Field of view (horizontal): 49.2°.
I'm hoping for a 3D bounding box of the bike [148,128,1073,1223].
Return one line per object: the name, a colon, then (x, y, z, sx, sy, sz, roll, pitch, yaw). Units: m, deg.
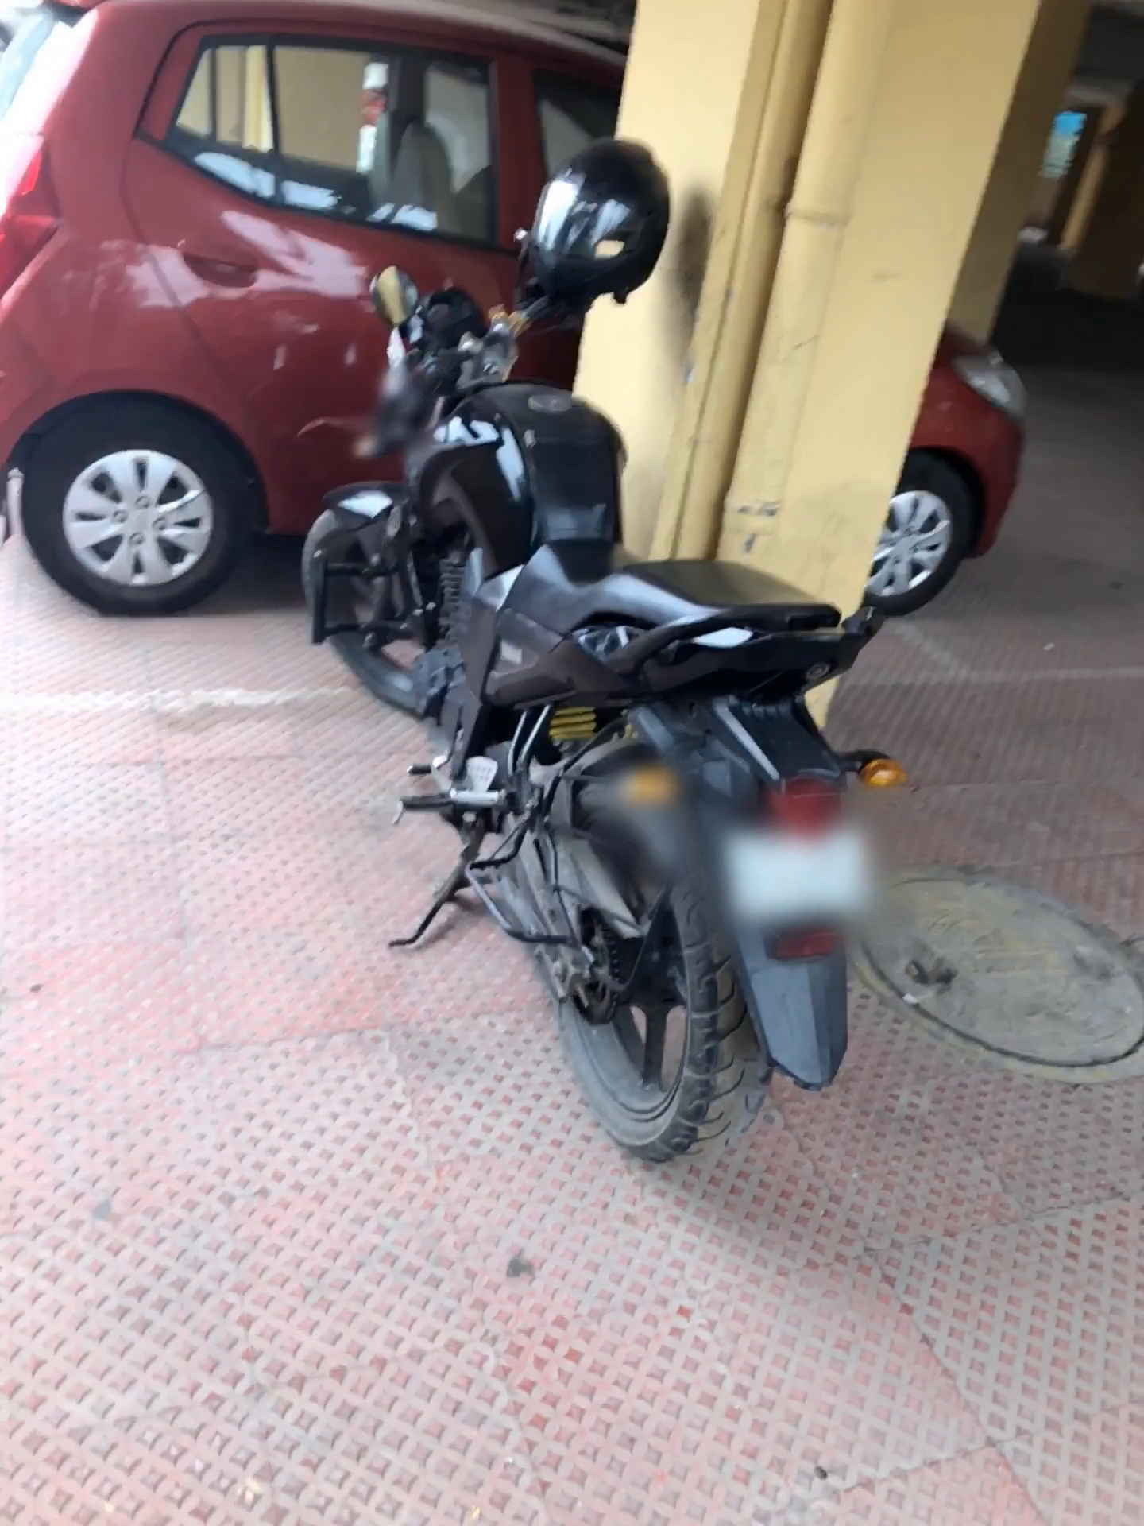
bike: (-0.210, -0.334, 2.206, 0.610, 1.051, 1.807, -7, 35, -29)
